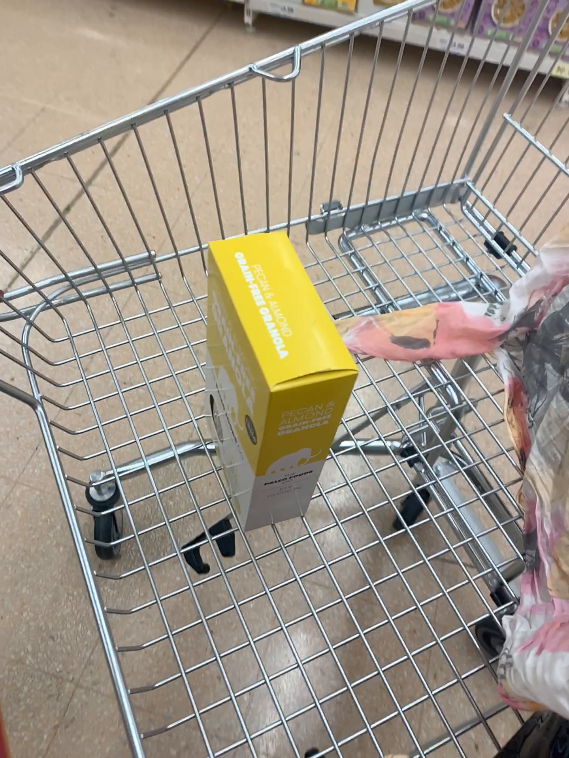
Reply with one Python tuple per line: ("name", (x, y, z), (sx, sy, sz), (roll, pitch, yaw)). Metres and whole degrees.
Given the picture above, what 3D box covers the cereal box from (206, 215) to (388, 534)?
("cereal box", (-0.008, 0.009, 0.427), (0.060, 0.208, 0.131), (-13, 59, -18))
